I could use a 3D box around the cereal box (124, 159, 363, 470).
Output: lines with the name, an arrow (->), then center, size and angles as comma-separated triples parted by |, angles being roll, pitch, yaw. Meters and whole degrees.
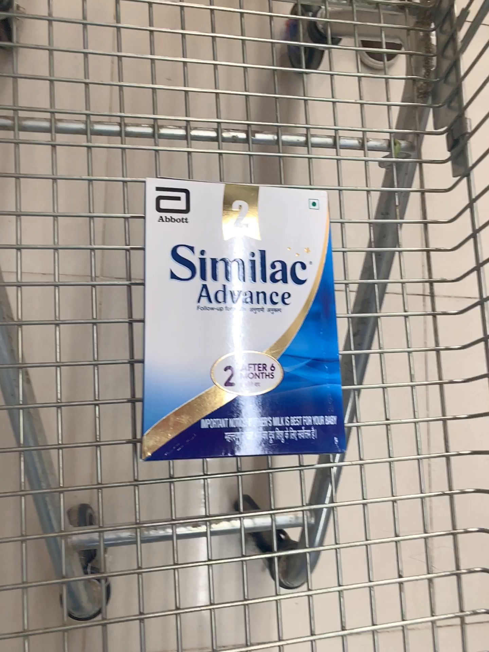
cereal box -> -0.006, -0.006, 0.357 | 0.150, 0.060, 0.200 | 1, 77, -12
